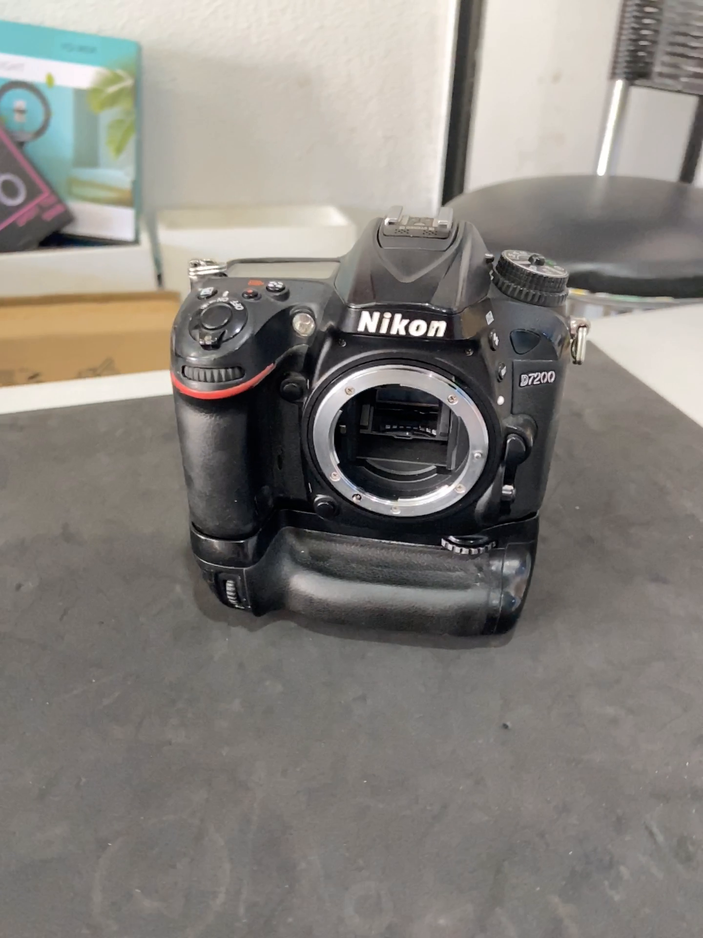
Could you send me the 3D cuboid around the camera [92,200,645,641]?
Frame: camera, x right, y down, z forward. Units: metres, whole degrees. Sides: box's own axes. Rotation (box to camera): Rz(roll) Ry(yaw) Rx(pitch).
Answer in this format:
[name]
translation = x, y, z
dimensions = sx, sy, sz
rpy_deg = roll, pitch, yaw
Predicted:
[camera]
translation = 0.008, -0.023, 0.255
dimensions = 0.140, 0.109, 0.101
rpy_deg = 4, 33, 7
